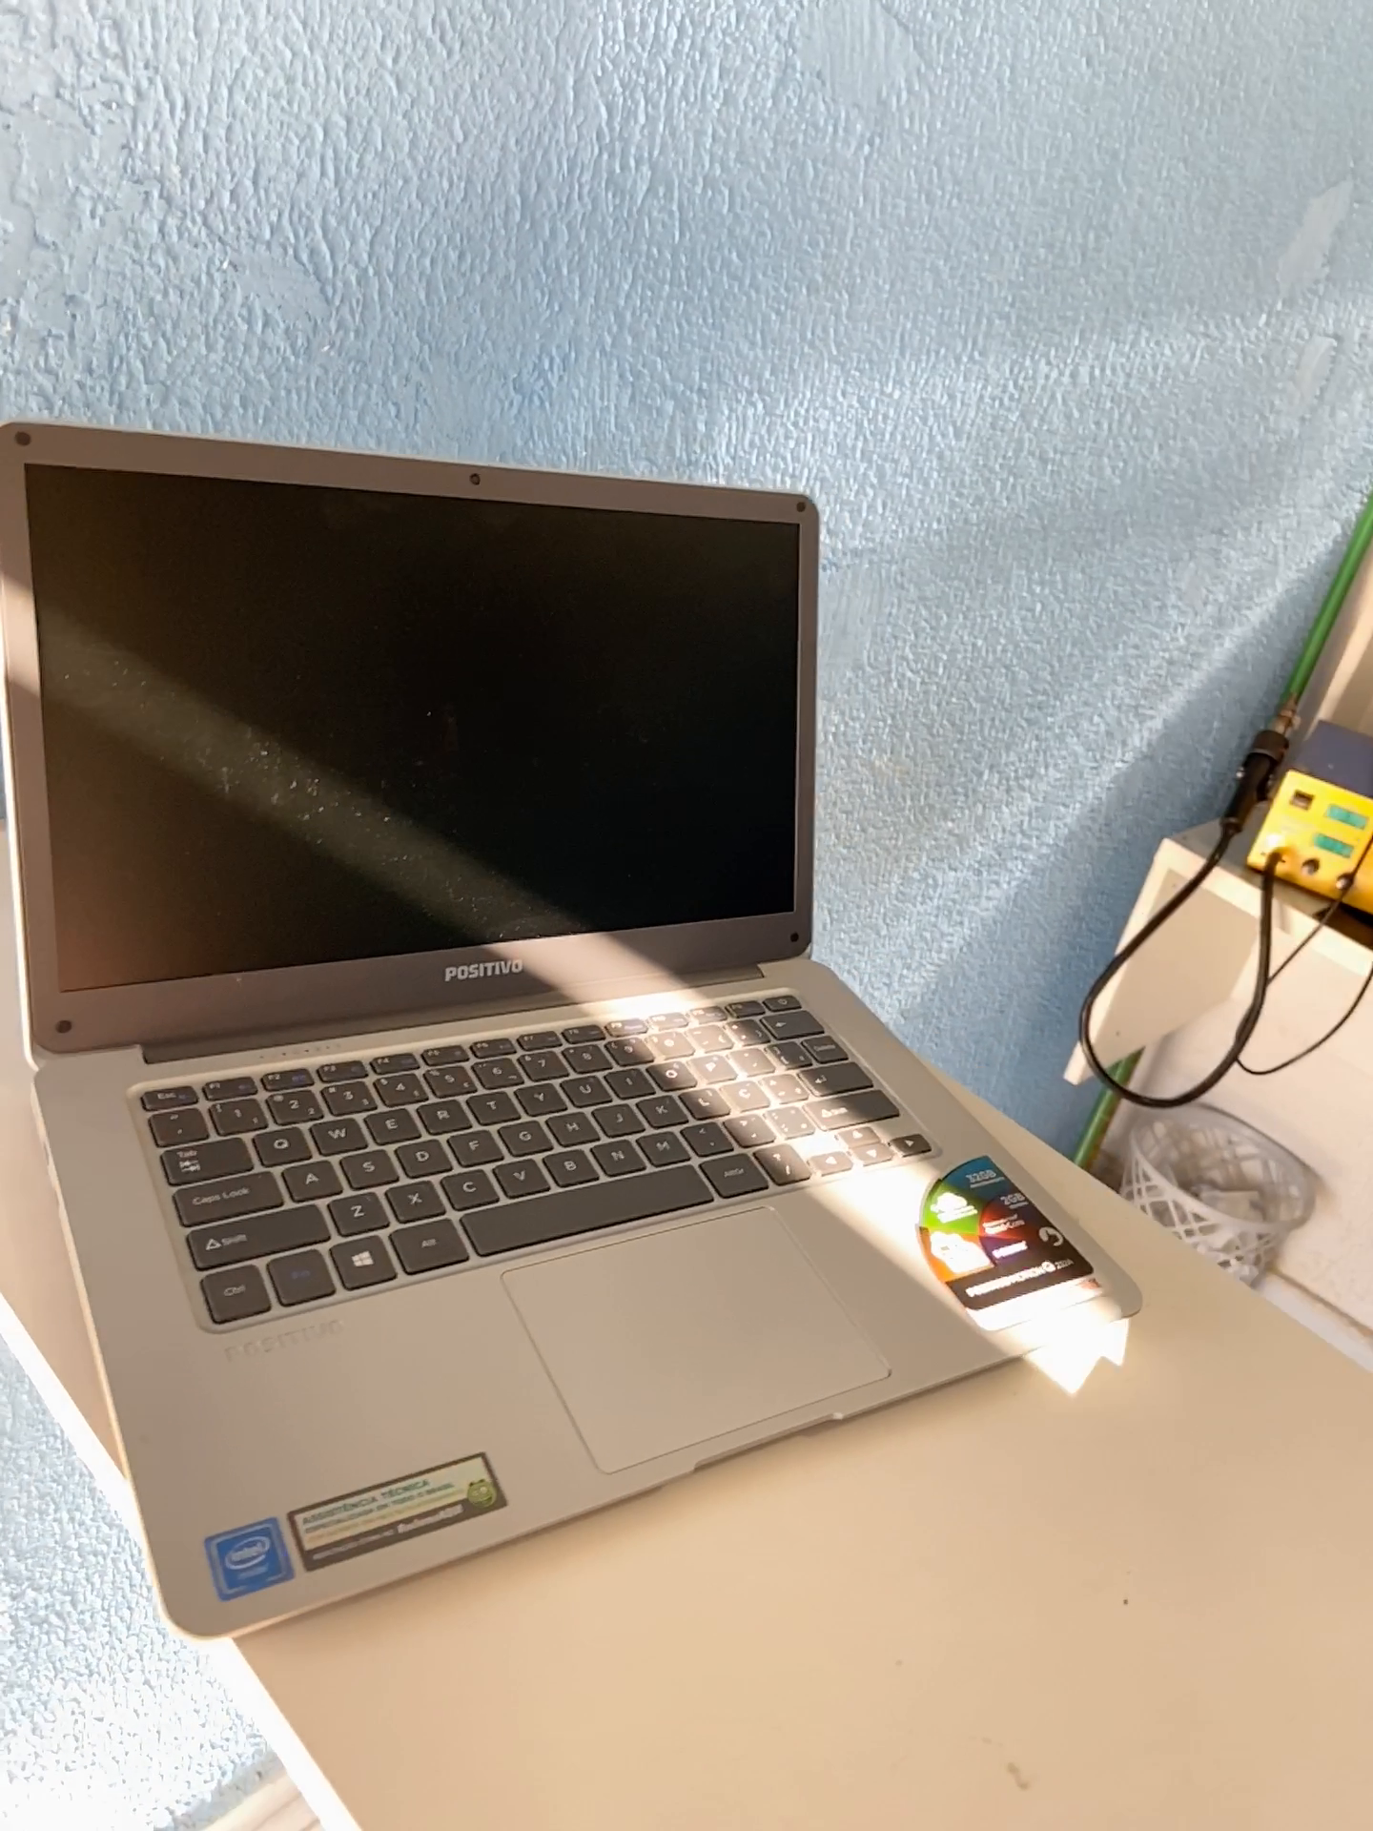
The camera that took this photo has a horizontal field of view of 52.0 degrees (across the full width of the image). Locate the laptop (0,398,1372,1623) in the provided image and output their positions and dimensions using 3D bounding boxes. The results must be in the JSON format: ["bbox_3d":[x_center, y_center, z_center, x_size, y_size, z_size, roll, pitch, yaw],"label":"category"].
[{"bbox_3d":[-0.031,-0.014,0.479,0.334,0.189,0.312,-6,35,-32],"label":"laptop"}]
